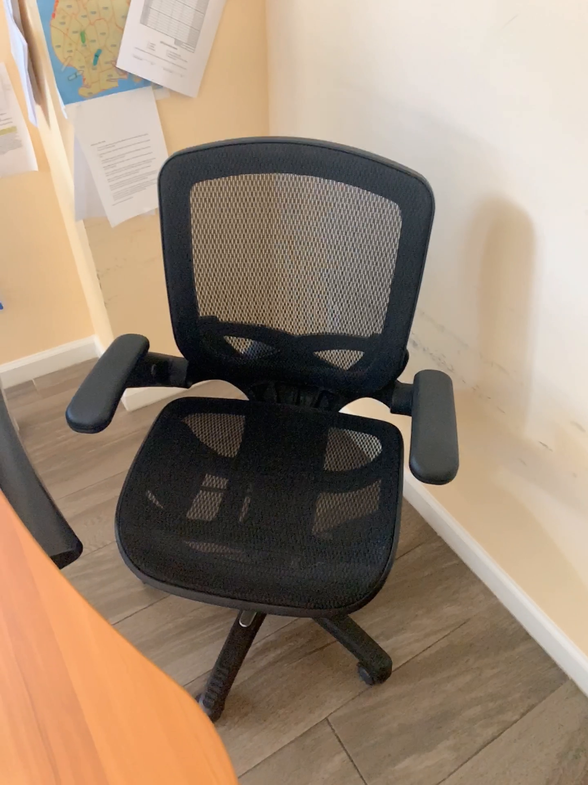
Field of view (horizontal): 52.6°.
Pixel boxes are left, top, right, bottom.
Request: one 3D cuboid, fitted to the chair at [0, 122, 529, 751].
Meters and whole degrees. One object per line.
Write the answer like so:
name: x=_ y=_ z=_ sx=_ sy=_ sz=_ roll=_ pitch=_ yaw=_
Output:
chair: x=-0.058 y=0.086 z=1.166 sx=0.639 sy=0.869 sz=0.776 roll=7 pitch=44 yaw=4
